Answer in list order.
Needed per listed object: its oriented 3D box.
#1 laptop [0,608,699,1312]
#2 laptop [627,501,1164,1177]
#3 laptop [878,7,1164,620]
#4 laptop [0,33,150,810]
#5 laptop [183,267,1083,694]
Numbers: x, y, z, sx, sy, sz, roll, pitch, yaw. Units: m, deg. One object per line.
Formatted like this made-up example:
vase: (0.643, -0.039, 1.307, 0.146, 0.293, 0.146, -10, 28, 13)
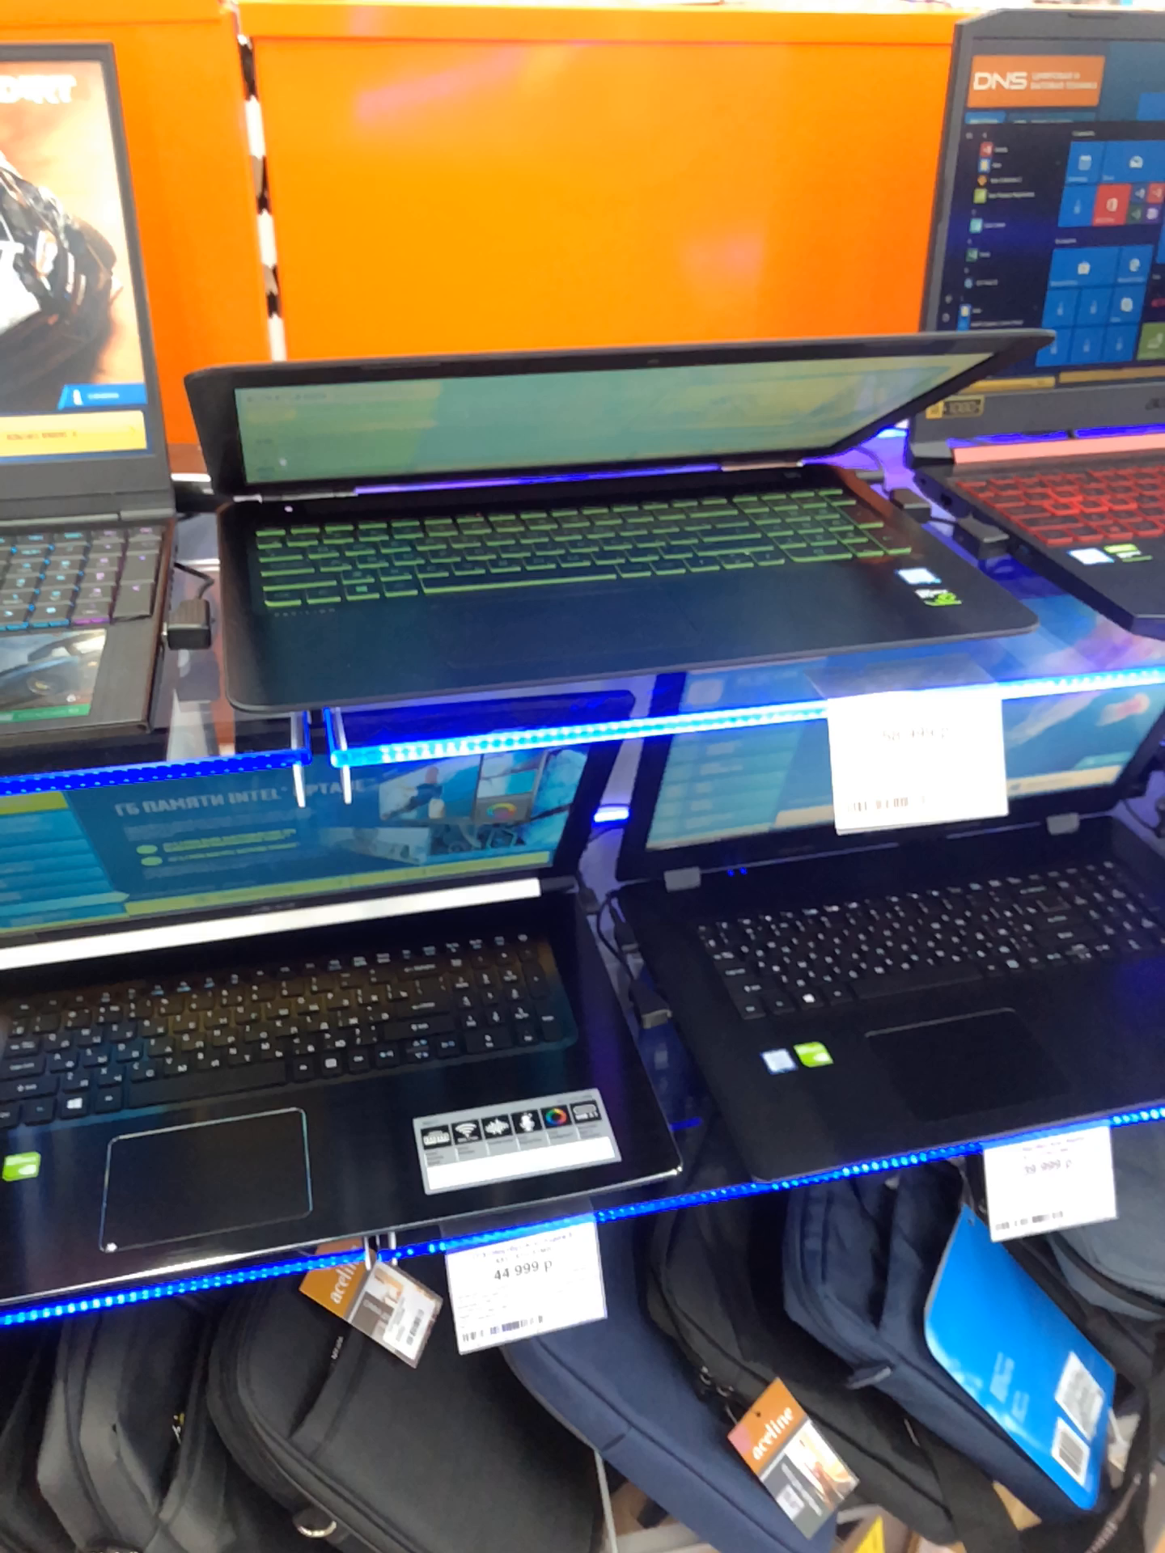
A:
laptop: (-0.177, 0.076, 0.718, 0.411, 0.217, 0.263, -6, 31, -12)
laptop: (0.257, 0.014, 0.800, 0.397, 0.255, 0.276, -8, 31, -11)
laptop: (0.434, -0.273, 0.711, 0.409, 0.245, 0.254, -9, 33, -16)
laptop: (-0.388, -0.179, 0.548, 0.340, 0.219, 0.304, -6, 32, -12)
laptop: (0.004, -0.164, 0.638, 0.369, 0.118, 0.228, -7, 32, -12)
